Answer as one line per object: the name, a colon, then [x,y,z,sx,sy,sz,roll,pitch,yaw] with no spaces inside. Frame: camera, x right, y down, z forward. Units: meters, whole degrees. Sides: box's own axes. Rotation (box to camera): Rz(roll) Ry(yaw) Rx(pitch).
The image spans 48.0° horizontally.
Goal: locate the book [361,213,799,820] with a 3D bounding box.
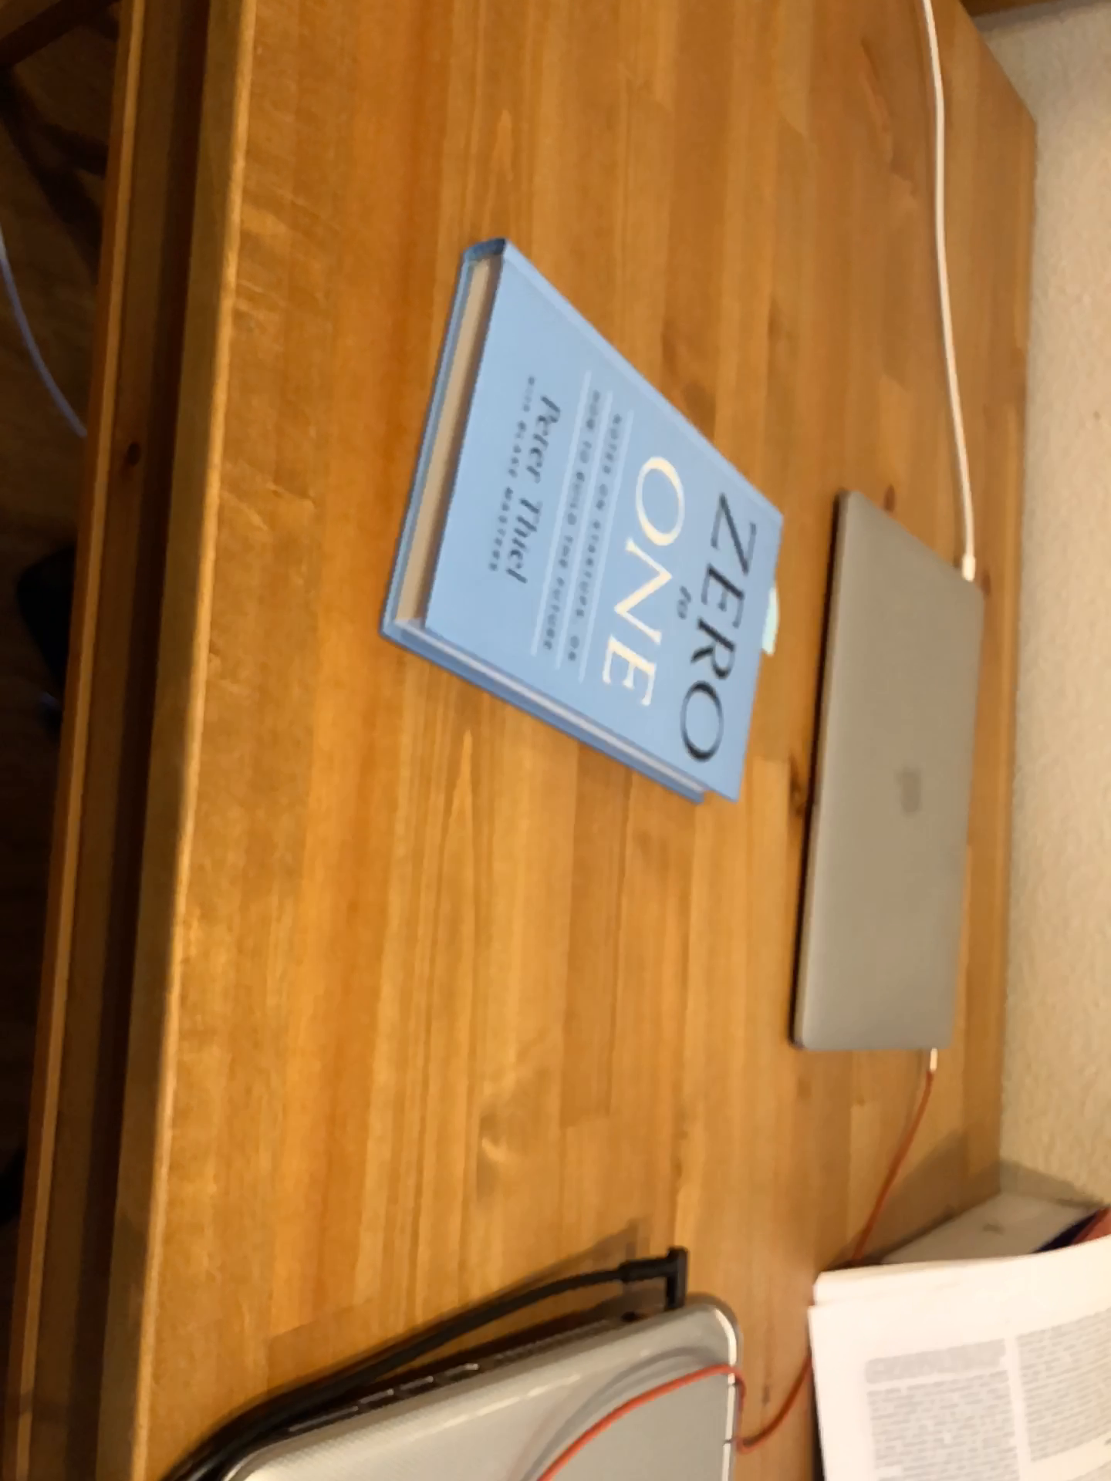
book: [0.025,-0.069,0.478,0.211,0.030,0.150,27,68,-50]
